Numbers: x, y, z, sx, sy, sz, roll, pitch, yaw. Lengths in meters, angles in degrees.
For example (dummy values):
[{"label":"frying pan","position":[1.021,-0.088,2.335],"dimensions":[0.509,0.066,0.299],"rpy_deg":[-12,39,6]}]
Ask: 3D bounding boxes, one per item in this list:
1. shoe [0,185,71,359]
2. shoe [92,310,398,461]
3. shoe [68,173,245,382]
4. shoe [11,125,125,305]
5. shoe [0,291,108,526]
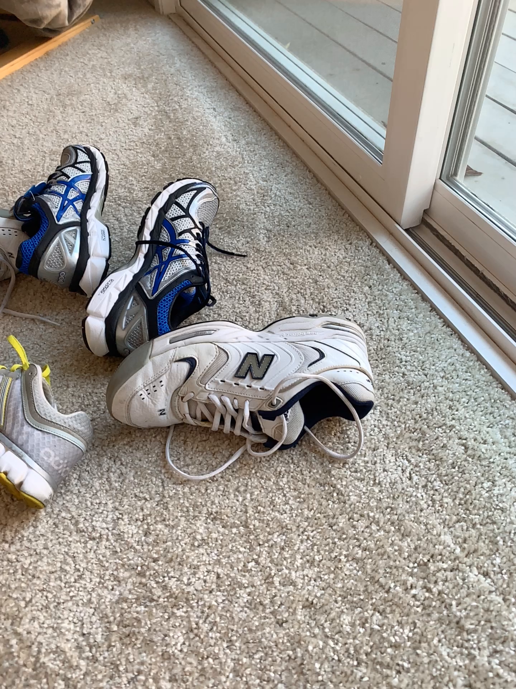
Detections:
[{"label":"shoe","position":[-0.417,-0.103,0.711],"dimensions":[0.280,0.099,0.100],"rpy_deg":[-26,54,-19]},{"label":"shoe","position":[-0.011,0.042,0.536],"dimensions":[0.270,0.099,0.101],"rpy_deg":[-3,48,1]},{"label":"shoe","position":[-0.111,-0.099,0.677],"dimensions":[0.120,0.090,0.281],"rpy_deg":[10,49,9]},{"label":"shoe","position":[-0.263,-0.191,0.755],"dimensions":[0.120,0.090,0.261],"rpy_deg":[11,43,-26]},{"label":"shoe","position":[-0.265,0.052,0.522],"dimensions":[0.221,0.090,0.100],"rpy_deg":[33,54,29]}]
